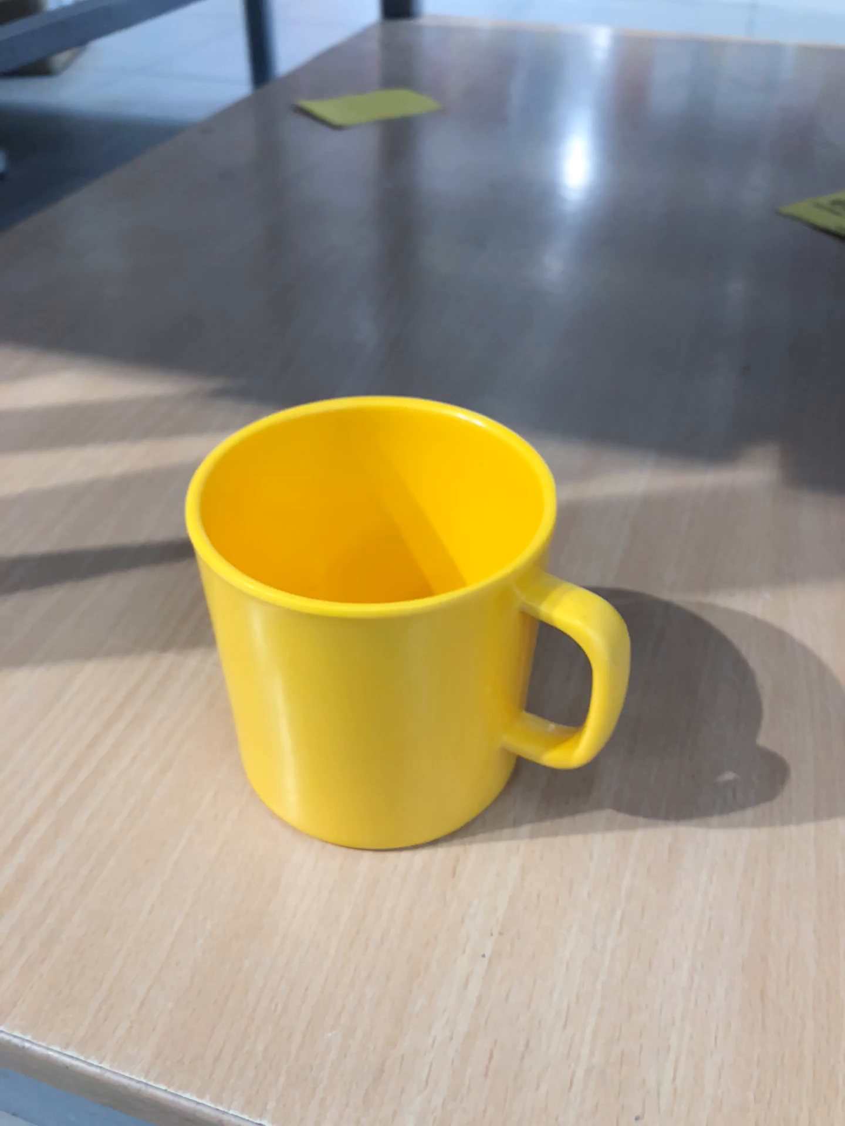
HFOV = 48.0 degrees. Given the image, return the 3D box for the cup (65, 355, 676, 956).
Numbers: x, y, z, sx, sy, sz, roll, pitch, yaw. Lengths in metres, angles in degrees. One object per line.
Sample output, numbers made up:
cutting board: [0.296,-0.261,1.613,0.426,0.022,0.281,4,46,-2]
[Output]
cup: [-0.009,0.017,0.238,0.110,0.089,0.081,19,42,21]
